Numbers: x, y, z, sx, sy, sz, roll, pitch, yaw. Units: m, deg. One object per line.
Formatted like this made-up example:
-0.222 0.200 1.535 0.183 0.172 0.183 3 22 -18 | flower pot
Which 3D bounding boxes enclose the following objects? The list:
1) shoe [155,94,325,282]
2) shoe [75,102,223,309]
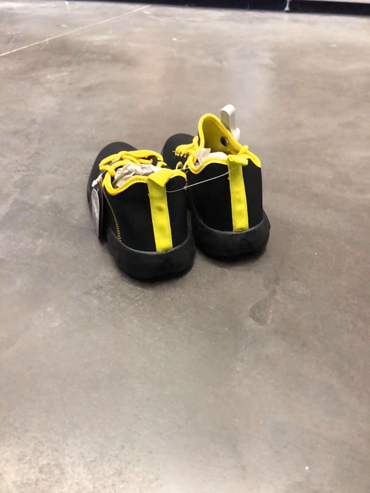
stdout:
0.042 -0.081 0.456 0.090 0.099 0.231 -11 39 -14 | shoe
-0.048 -0.060 0.426 0.090 0.099 0.231 -11 39 -14 | shoe
